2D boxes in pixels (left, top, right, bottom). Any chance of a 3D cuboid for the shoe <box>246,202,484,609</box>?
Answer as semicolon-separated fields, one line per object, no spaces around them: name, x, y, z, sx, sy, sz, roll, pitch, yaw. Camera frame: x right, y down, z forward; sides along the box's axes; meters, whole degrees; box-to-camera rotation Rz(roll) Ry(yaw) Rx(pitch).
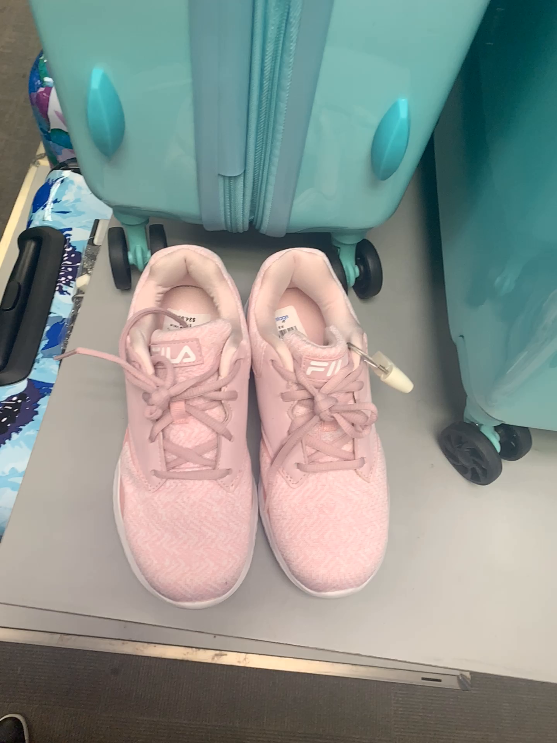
shoe;0.039;0.019;0.386;0.107;0.104;0.251;-1;65;-6

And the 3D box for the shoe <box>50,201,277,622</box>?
shoe;-0.067;0.022;0.373;0.107;0.104;0.251;-1;65;-6
